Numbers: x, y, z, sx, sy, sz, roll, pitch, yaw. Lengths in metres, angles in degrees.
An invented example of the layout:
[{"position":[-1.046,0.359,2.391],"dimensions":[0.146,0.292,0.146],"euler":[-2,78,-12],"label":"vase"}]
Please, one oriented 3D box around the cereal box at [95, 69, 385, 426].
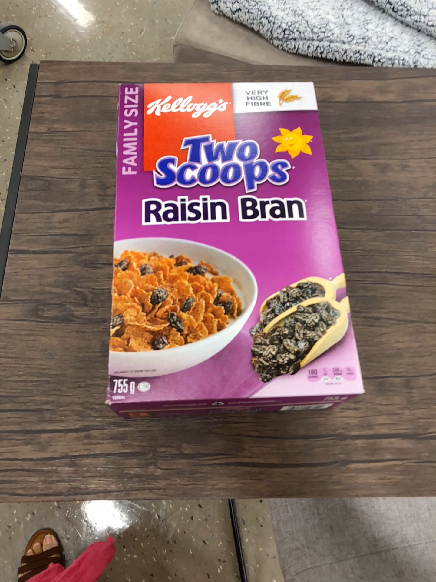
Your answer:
[{"position":[0.008,-0.050,0.442],"dimensions":[0.210,0.080,0.320],"euler":[-2,68,-3],"label":"cereal box"}]
